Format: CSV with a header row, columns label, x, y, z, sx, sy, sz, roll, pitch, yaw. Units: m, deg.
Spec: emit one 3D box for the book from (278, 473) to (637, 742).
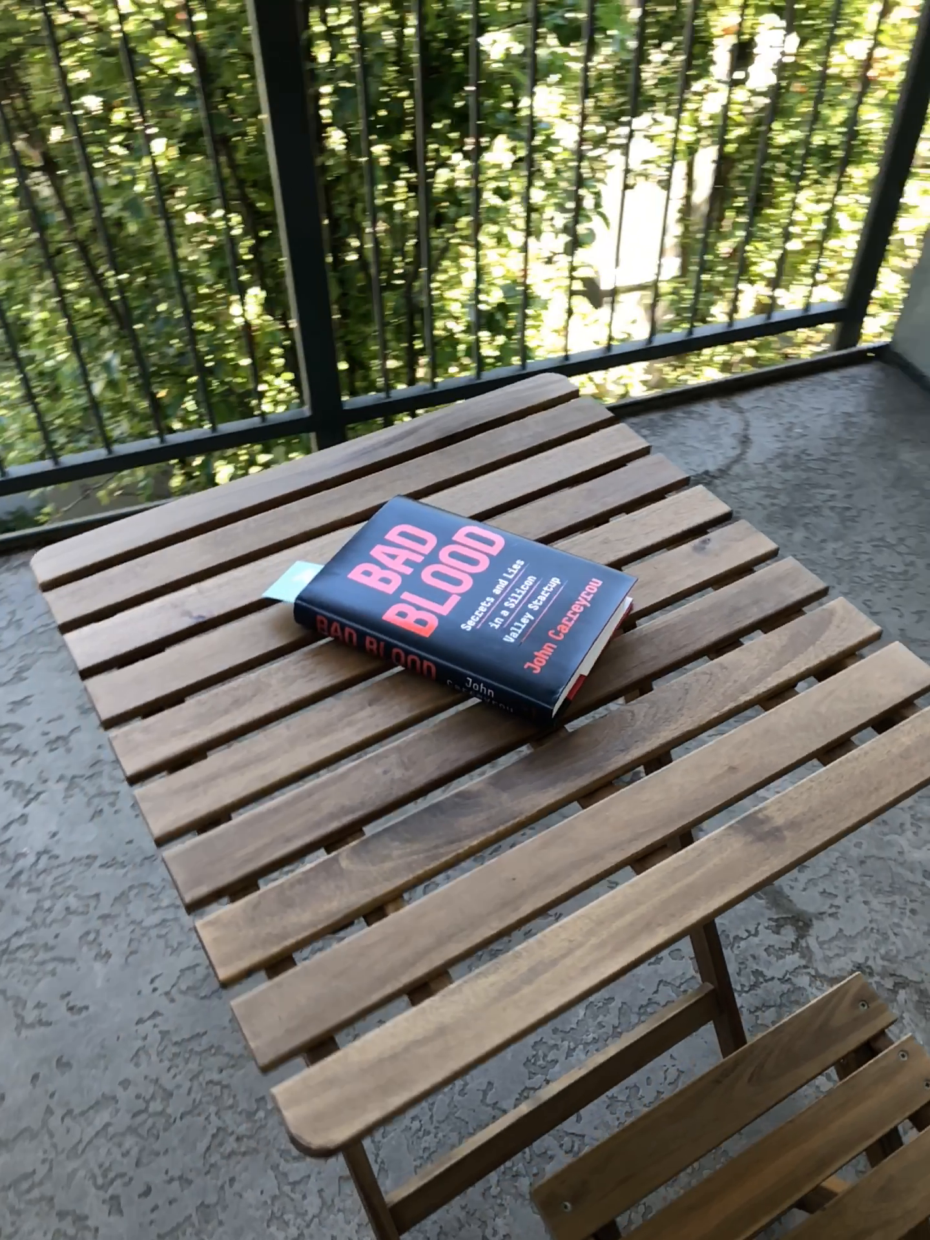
label,x,y,z,sx,sy,sz,roll,pitch,yaw
book,-0.004,-0.021,0.869,0.240,0.050,0.181,21,49,20
